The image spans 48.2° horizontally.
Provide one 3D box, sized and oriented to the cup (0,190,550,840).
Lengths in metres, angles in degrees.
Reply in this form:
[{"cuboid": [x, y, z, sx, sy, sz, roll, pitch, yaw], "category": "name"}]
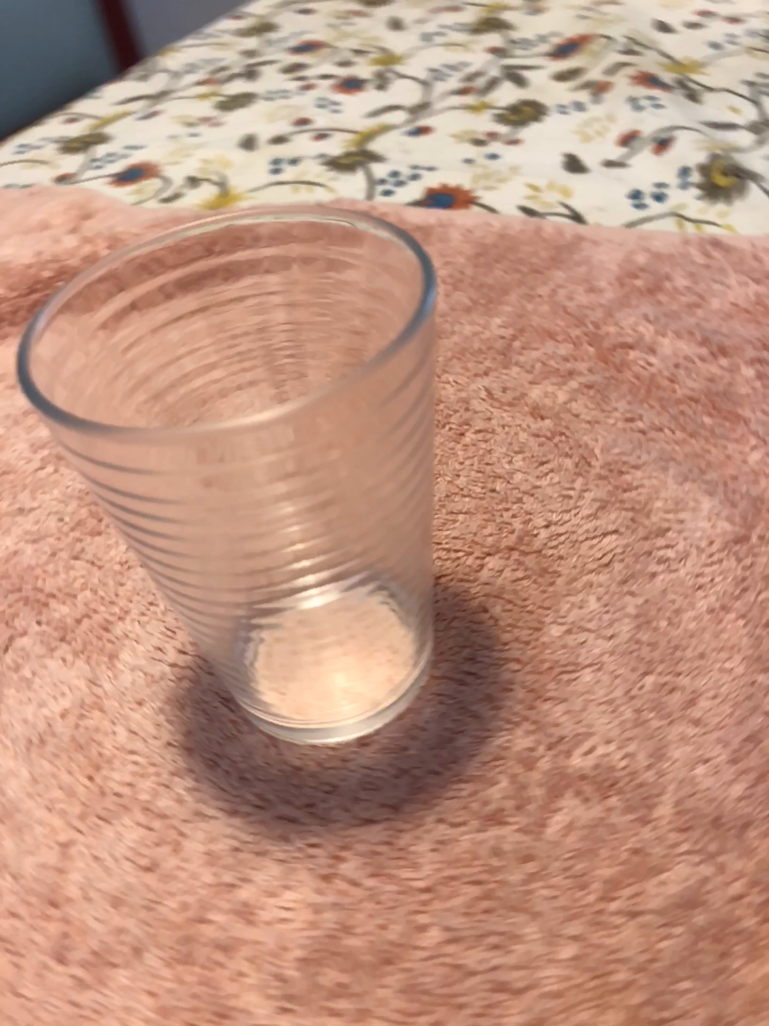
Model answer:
[{"cuboid": [-0.016, -0.003, 0.175, 0.080, 0.089, 0.080, -6, 44, 6], "category": "cup"}]
